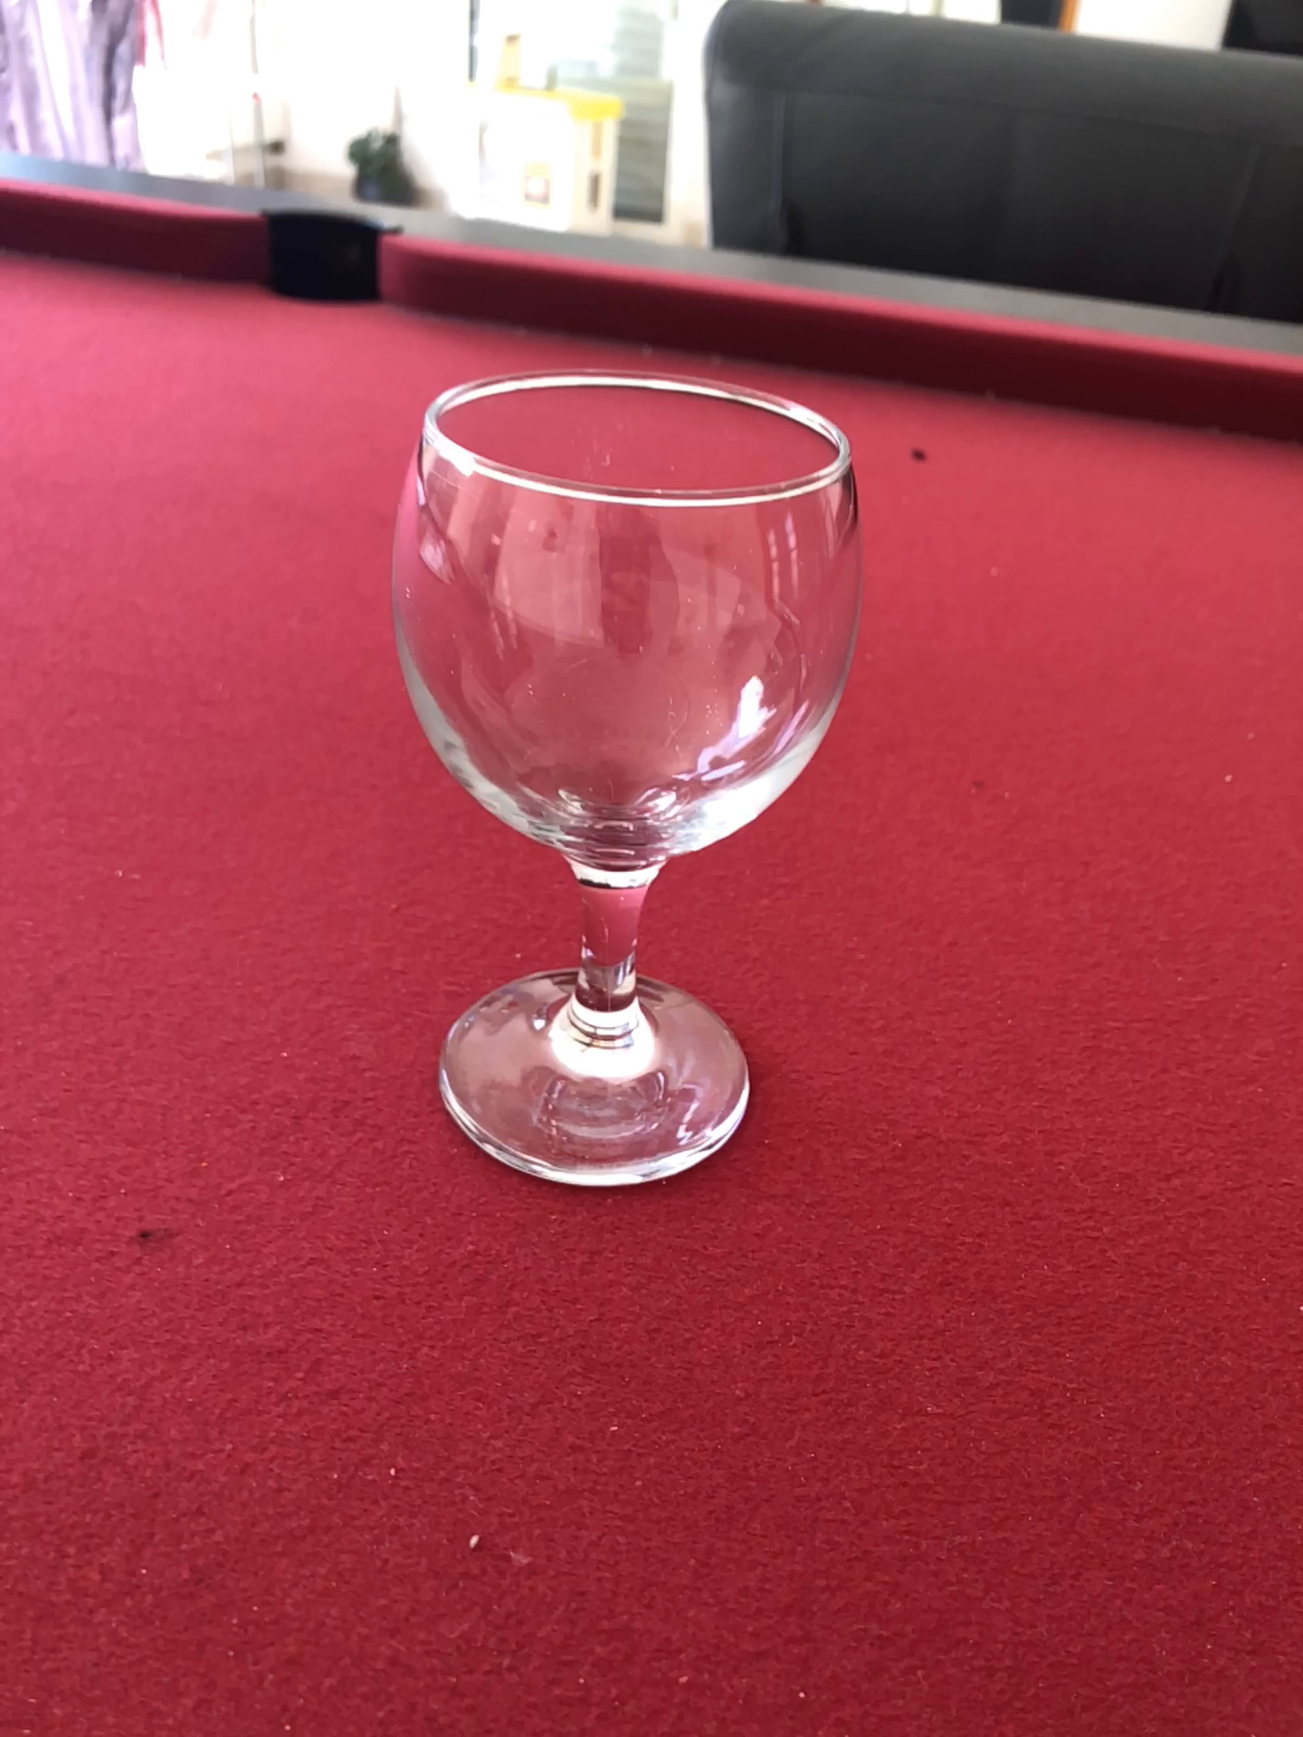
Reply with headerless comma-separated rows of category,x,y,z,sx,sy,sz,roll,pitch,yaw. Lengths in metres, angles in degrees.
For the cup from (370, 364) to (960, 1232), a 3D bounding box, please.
cup,-0.006,-0.015,0.260,0.070,0.129,0.070,4,32,-2
